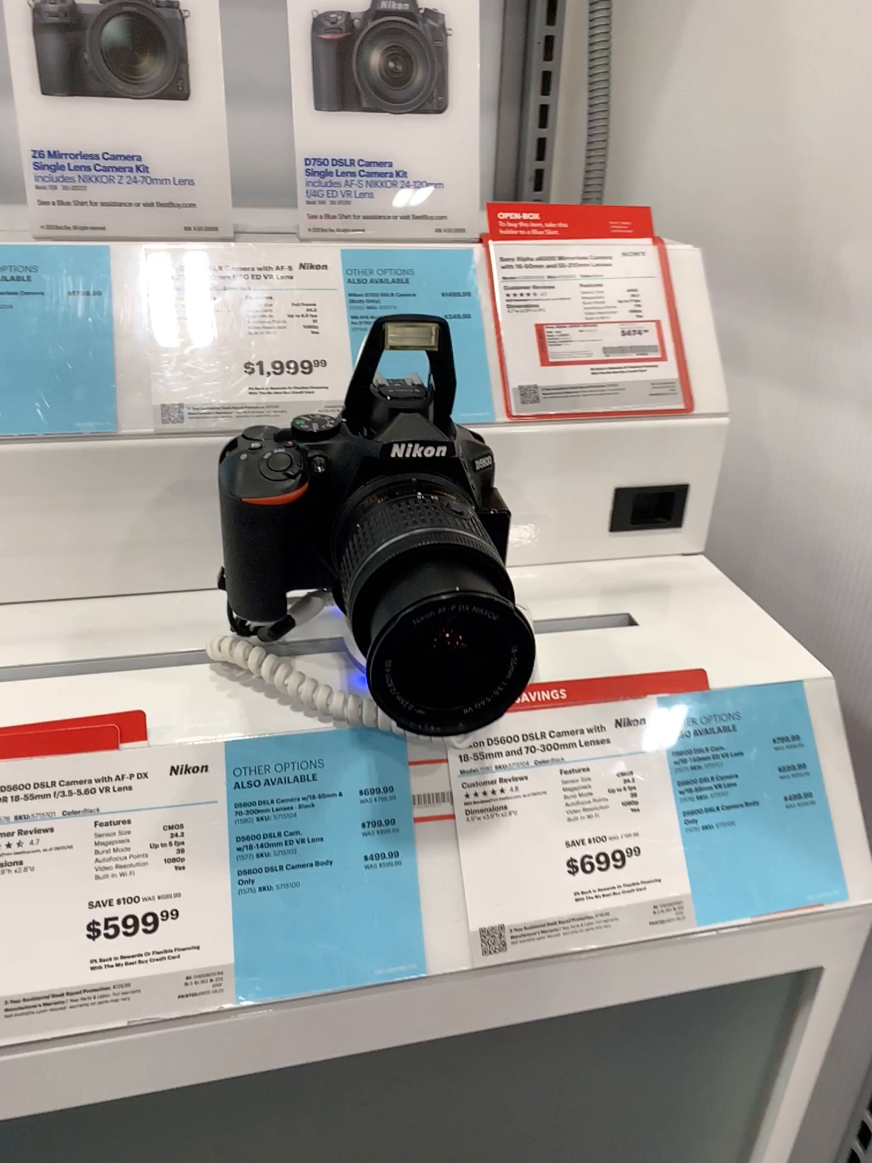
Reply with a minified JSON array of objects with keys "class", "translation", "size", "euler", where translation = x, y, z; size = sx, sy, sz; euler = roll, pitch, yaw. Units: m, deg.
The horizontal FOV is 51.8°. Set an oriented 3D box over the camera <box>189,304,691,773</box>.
[{"class":"camera","translation":[-0.018,-0.037,0.360],"size":[0.140,0.109,0.191],"euler":[-6,28,-15]}]
